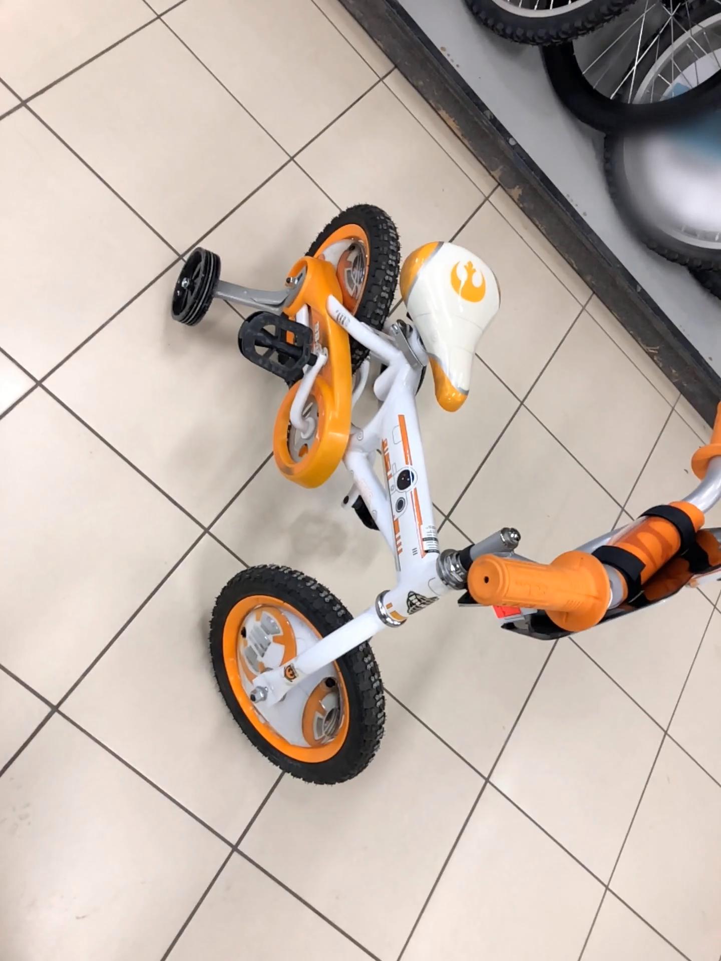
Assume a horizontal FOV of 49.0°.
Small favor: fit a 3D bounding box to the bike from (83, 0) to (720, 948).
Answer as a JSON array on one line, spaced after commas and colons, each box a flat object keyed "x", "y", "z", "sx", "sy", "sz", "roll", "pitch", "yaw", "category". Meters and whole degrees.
[{"x": 0.024, "y": -0.076, "z": 0.919, "sx": 0.436, "sy": 0.715, "sz": 0.815, "roll": 8, "pitch": 74, "yaw": -28, "category": "bike"}]
